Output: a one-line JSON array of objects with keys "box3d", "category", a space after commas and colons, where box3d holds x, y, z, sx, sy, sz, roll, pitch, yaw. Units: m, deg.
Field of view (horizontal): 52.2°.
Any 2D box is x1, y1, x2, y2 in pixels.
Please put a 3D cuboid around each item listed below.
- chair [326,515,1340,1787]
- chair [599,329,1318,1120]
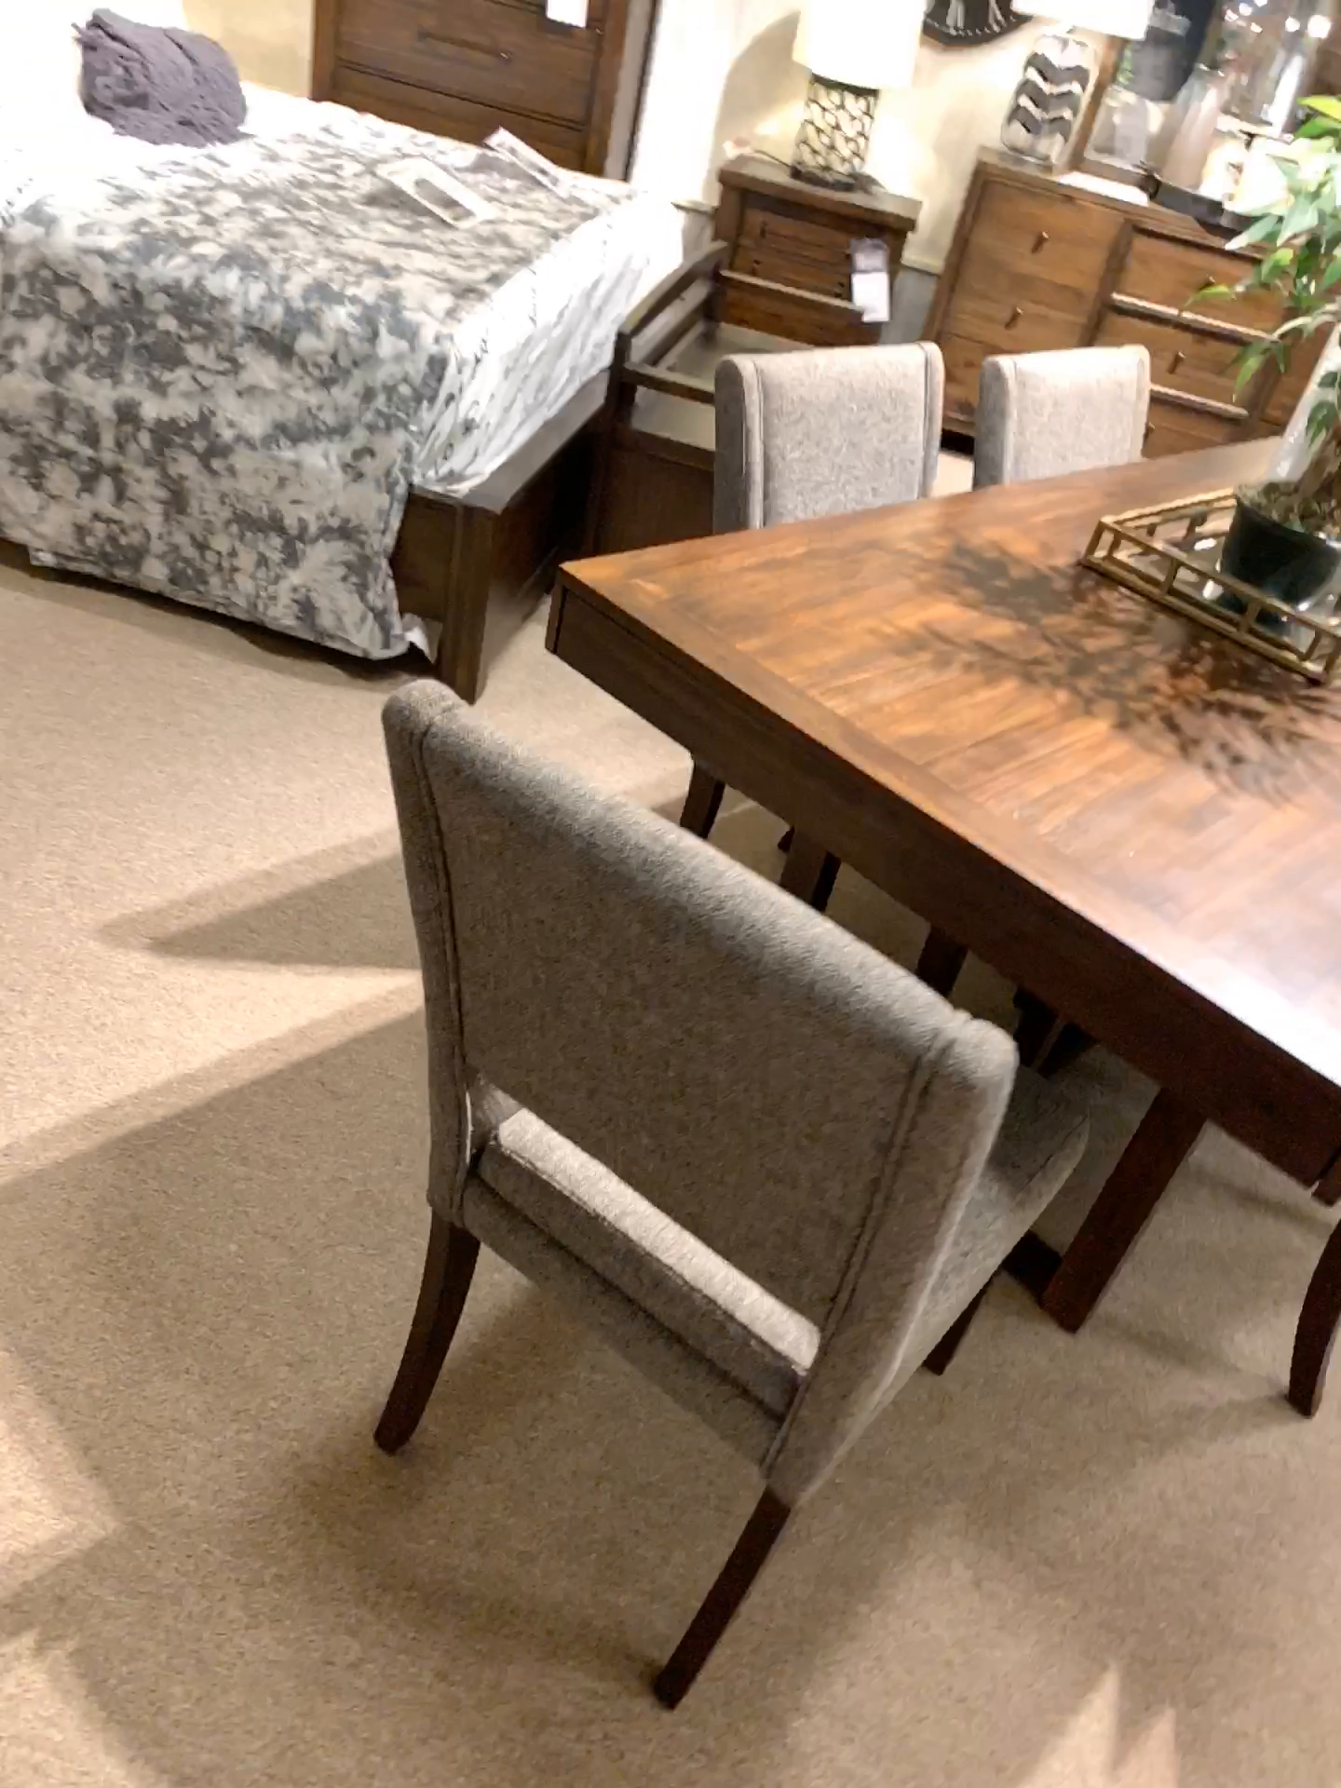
[{"box3d": [0.114, 0.206, 1.261, 0.480, 0.863, 0.632, 33, 39, 24], "category": "chair"}, {"box3d": [0.355, -0.265, 1.992, 0.631, 0.863, 0.481, 37, 41, 29], "category": "chair"}]
